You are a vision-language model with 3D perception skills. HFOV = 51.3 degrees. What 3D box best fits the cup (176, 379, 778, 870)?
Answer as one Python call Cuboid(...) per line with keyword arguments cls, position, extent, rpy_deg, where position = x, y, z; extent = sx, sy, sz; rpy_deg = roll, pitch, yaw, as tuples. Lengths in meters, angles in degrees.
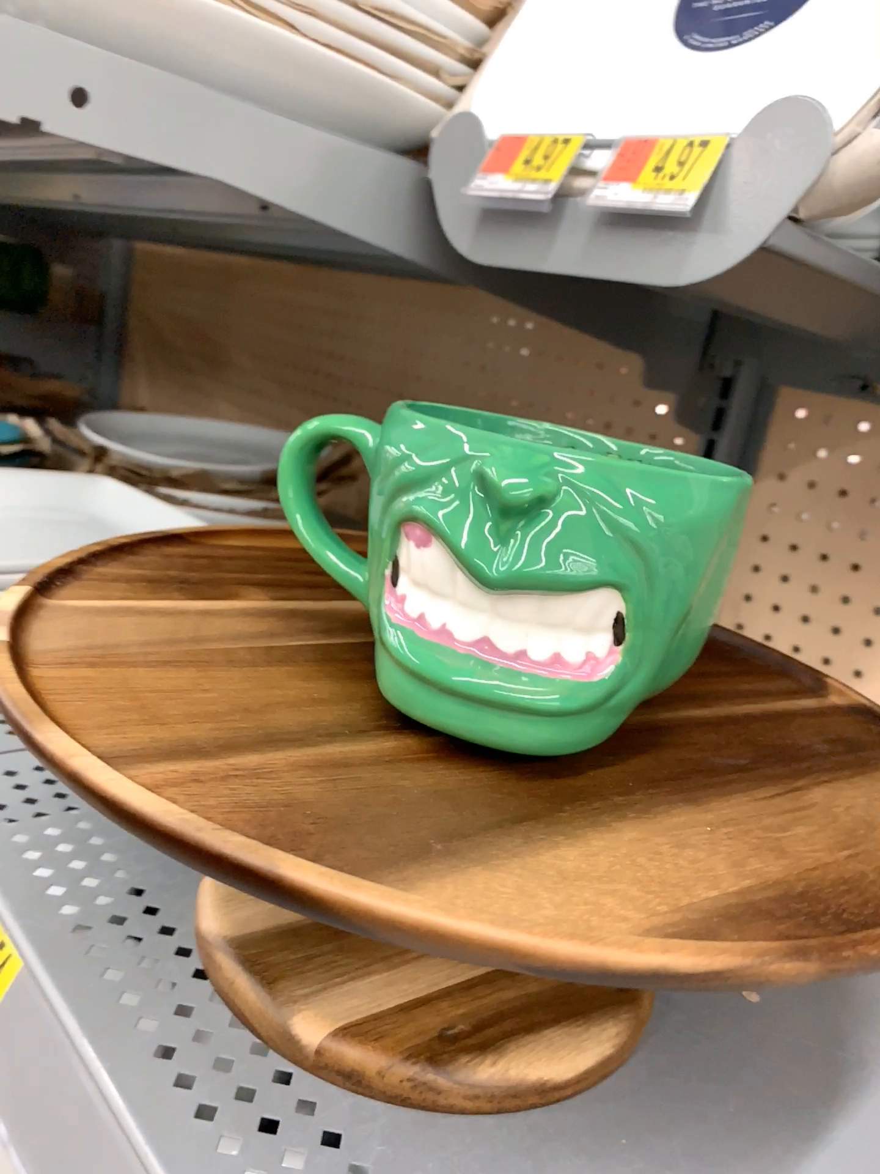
Cuboid(cls="cup", position=(0.020, -0.005, 0.288), extent=(0.140, 0.090, 0.130), rpy_deg=(10, 15, -3))
